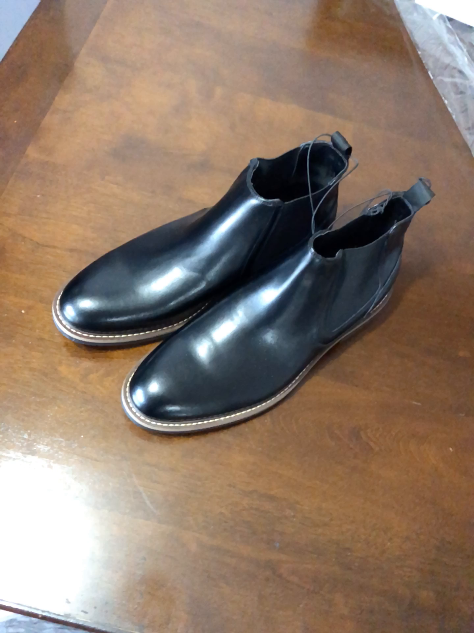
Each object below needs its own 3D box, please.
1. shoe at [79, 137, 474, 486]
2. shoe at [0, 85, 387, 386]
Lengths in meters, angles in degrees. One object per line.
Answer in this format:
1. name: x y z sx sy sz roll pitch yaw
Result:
1. shoe: 0.035 -0.004 0.472 0.300 0.170 0.120 -32 72 -21
2. shoe: -0.036 -0.077 0.512 0.300 0.170 0.120 -25 70 -19
